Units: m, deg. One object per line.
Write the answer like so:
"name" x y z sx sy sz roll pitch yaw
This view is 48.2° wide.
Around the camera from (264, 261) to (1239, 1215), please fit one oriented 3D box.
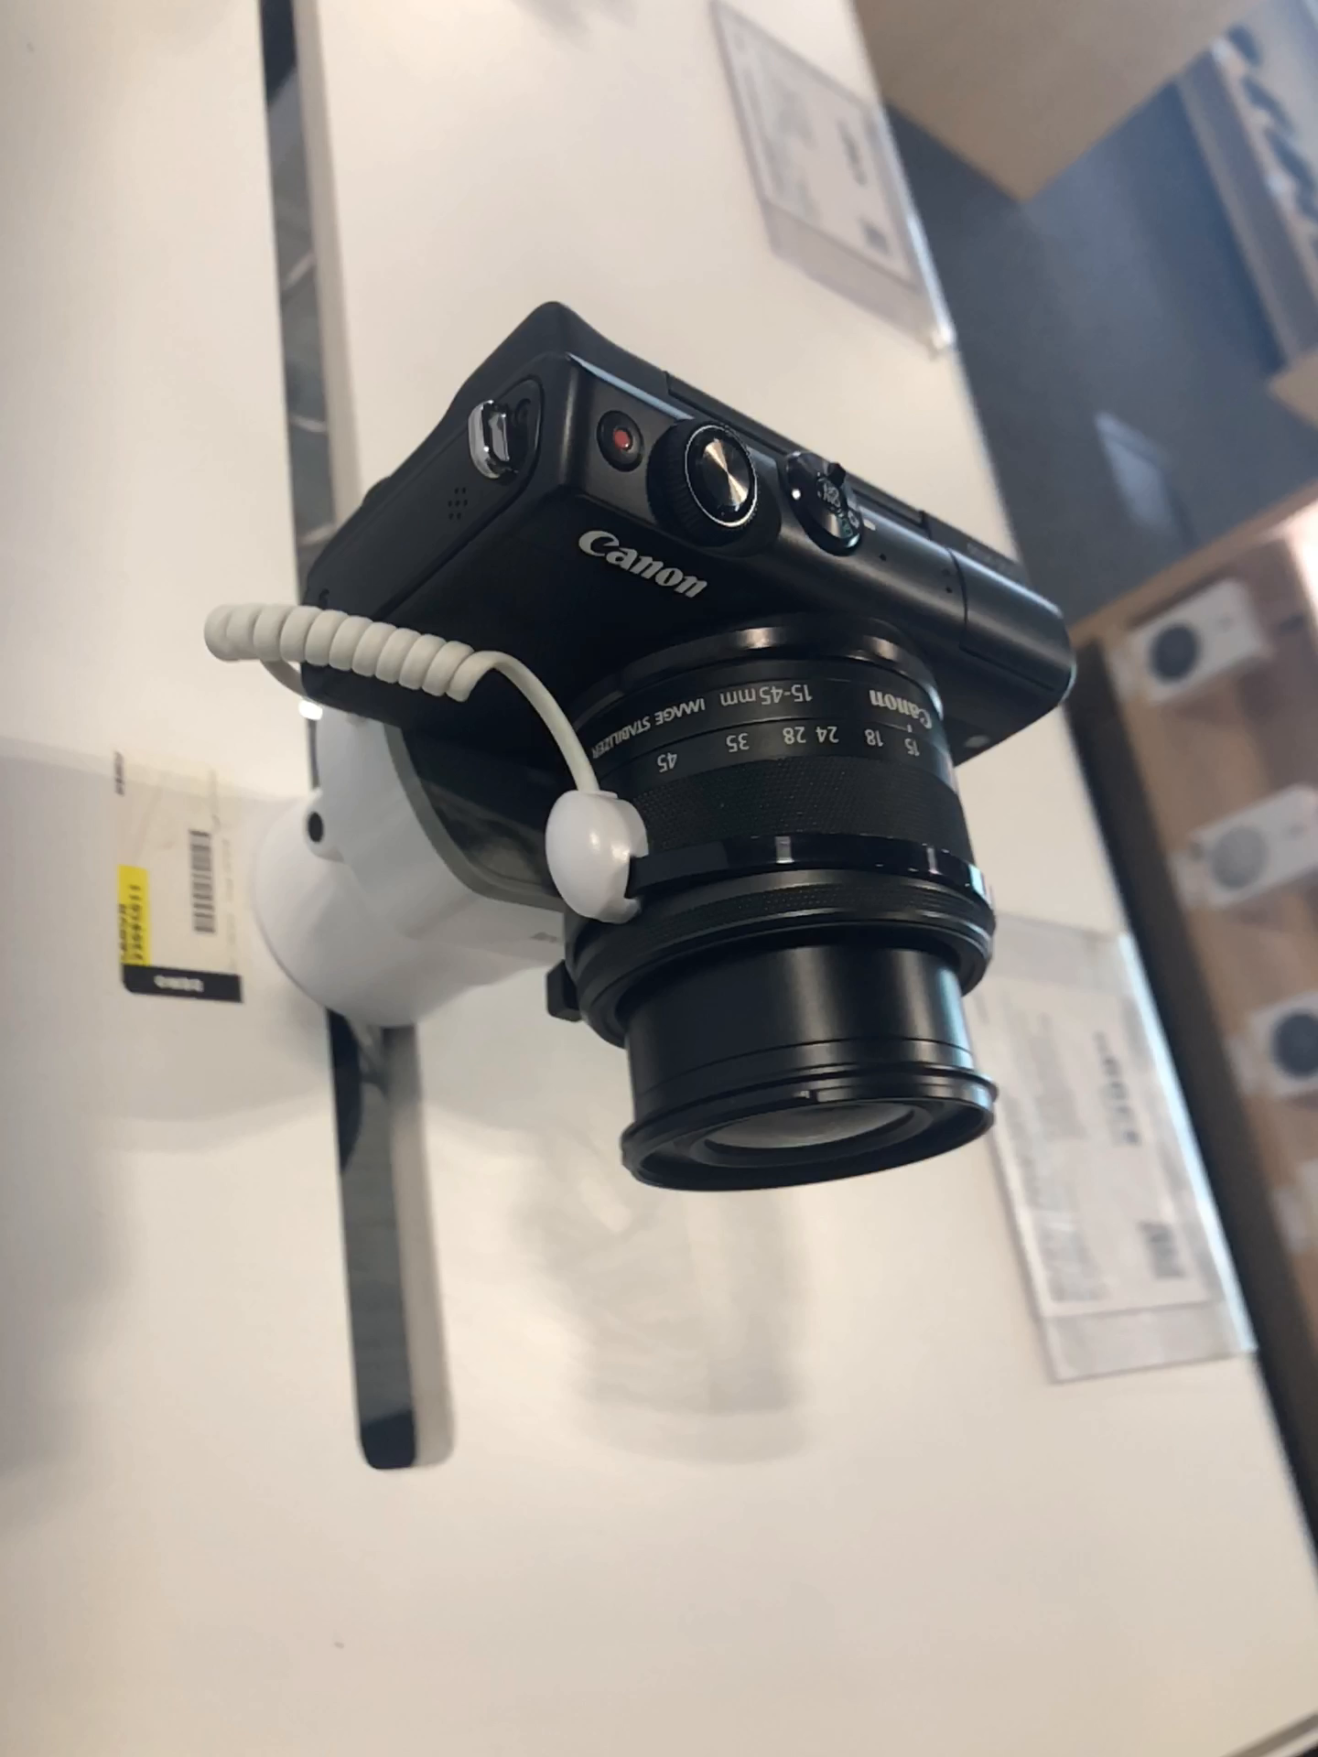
"camera" 0.011 -0.008 0.213 0.110 0.072 0.091 14 58 -39
